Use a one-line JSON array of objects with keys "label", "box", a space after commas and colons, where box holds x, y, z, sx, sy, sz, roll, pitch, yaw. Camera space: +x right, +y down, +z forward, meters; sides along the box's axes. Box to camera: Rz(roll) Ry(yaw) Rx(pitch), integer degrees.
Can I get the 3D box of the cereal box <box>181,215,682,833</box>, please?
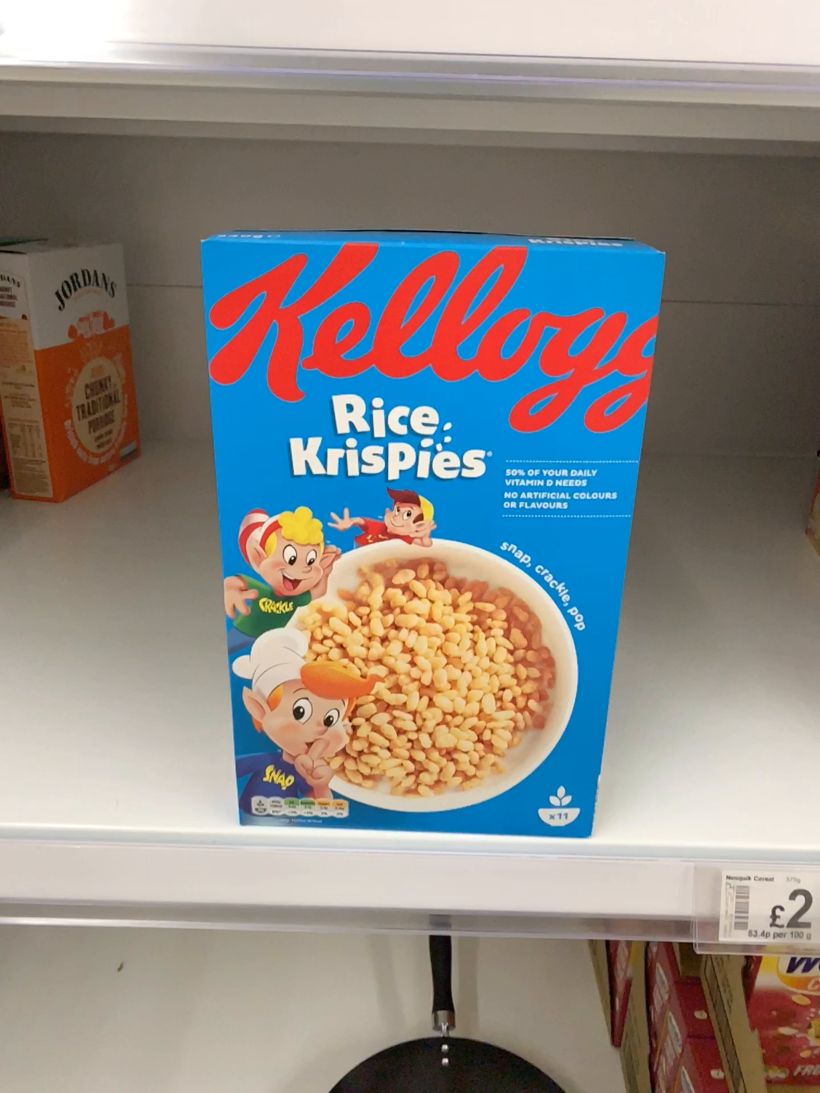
[{"label": "cereal box", "box": [0.005, -0.003, 0.424, 0.200, 0.298, 0.071, 2, 22, 1]}]
